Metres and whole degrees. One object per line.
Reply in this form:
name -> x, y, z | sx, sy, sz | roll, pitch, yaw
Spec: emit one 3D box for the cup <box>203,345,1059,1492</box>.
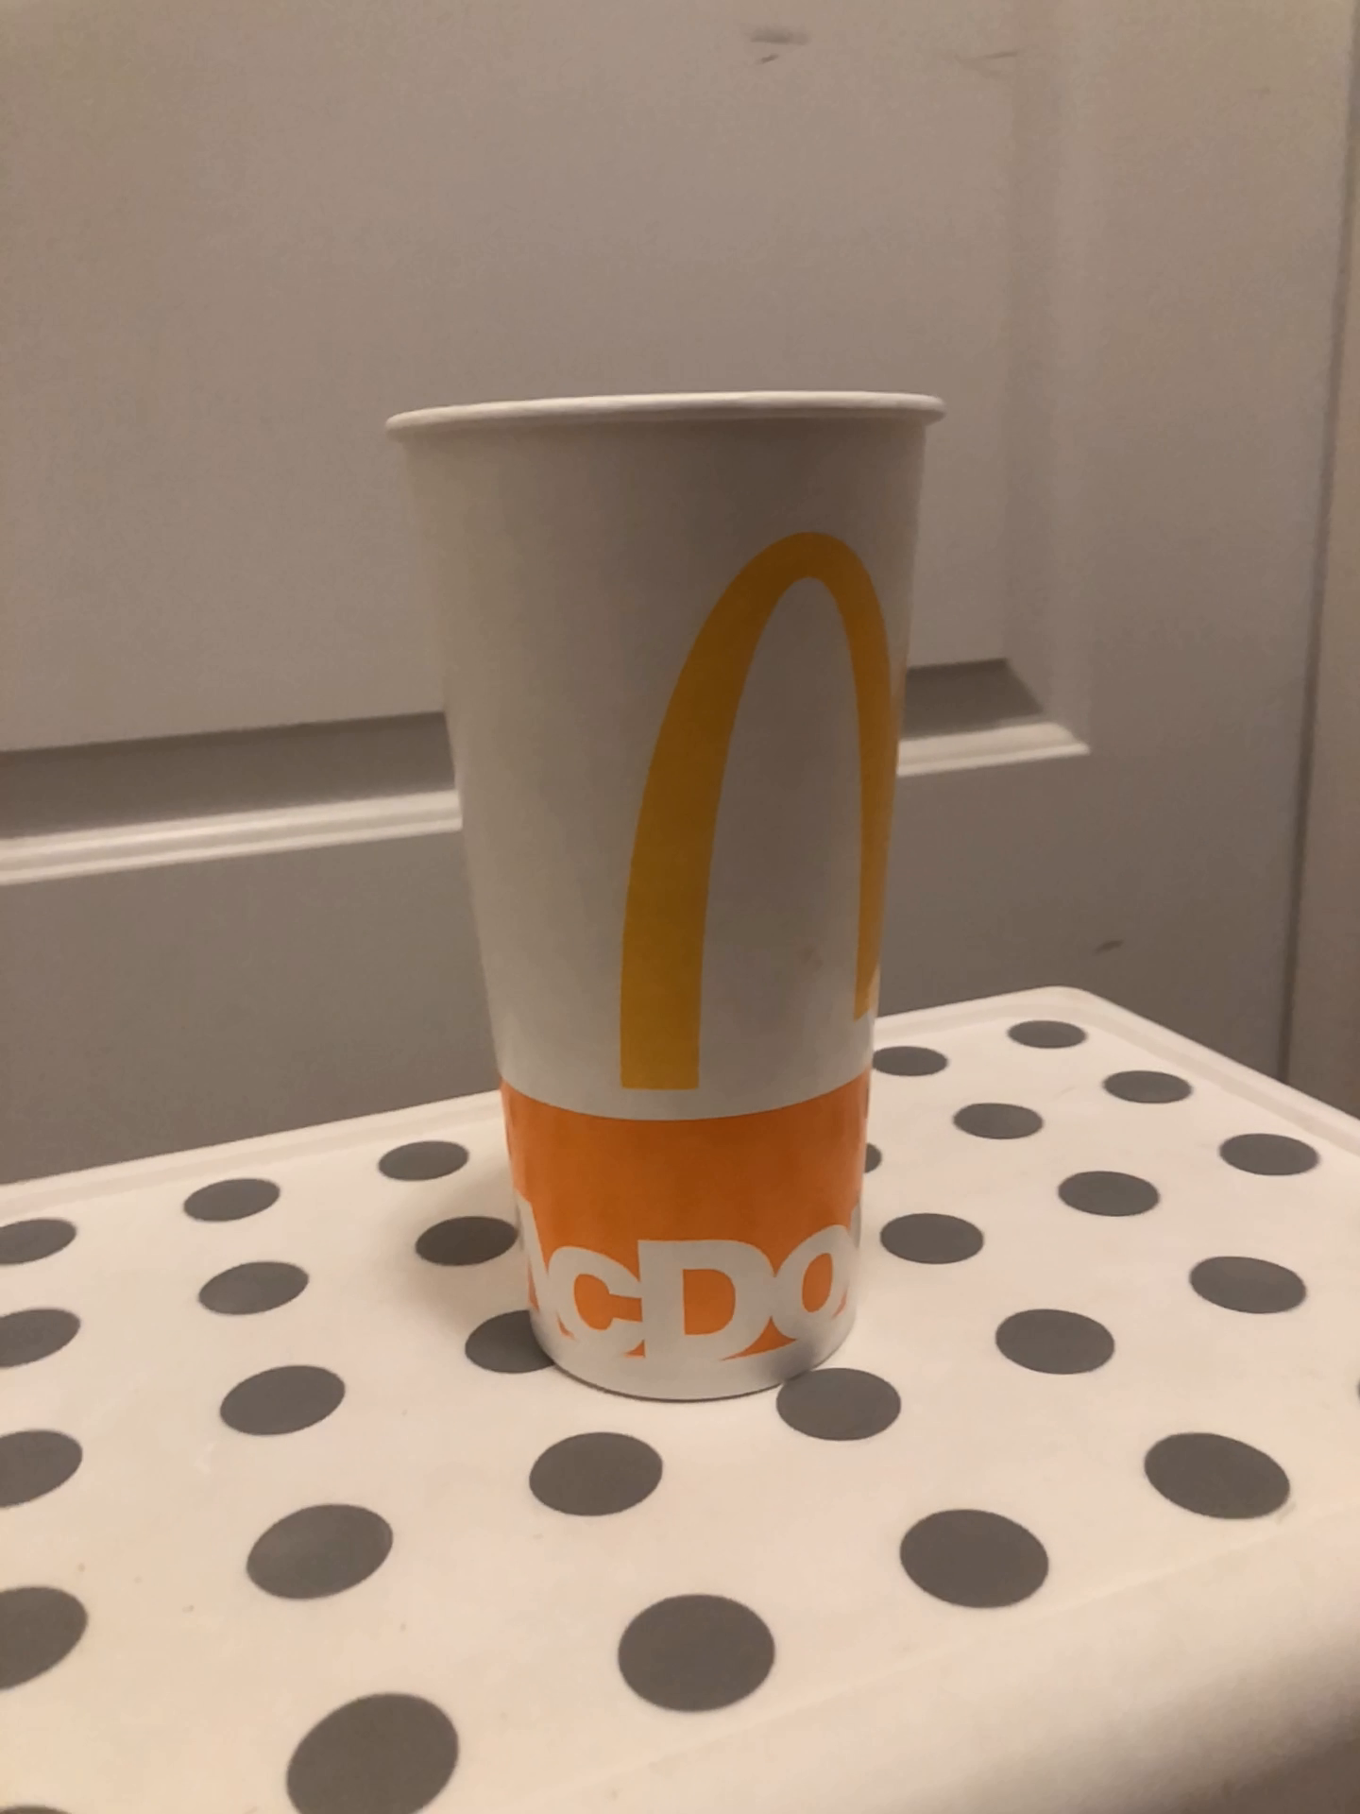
cup -> -0.001, -0.009, 0.263 | 0.099, 0.155, 0.100 | -2, 15, 1
